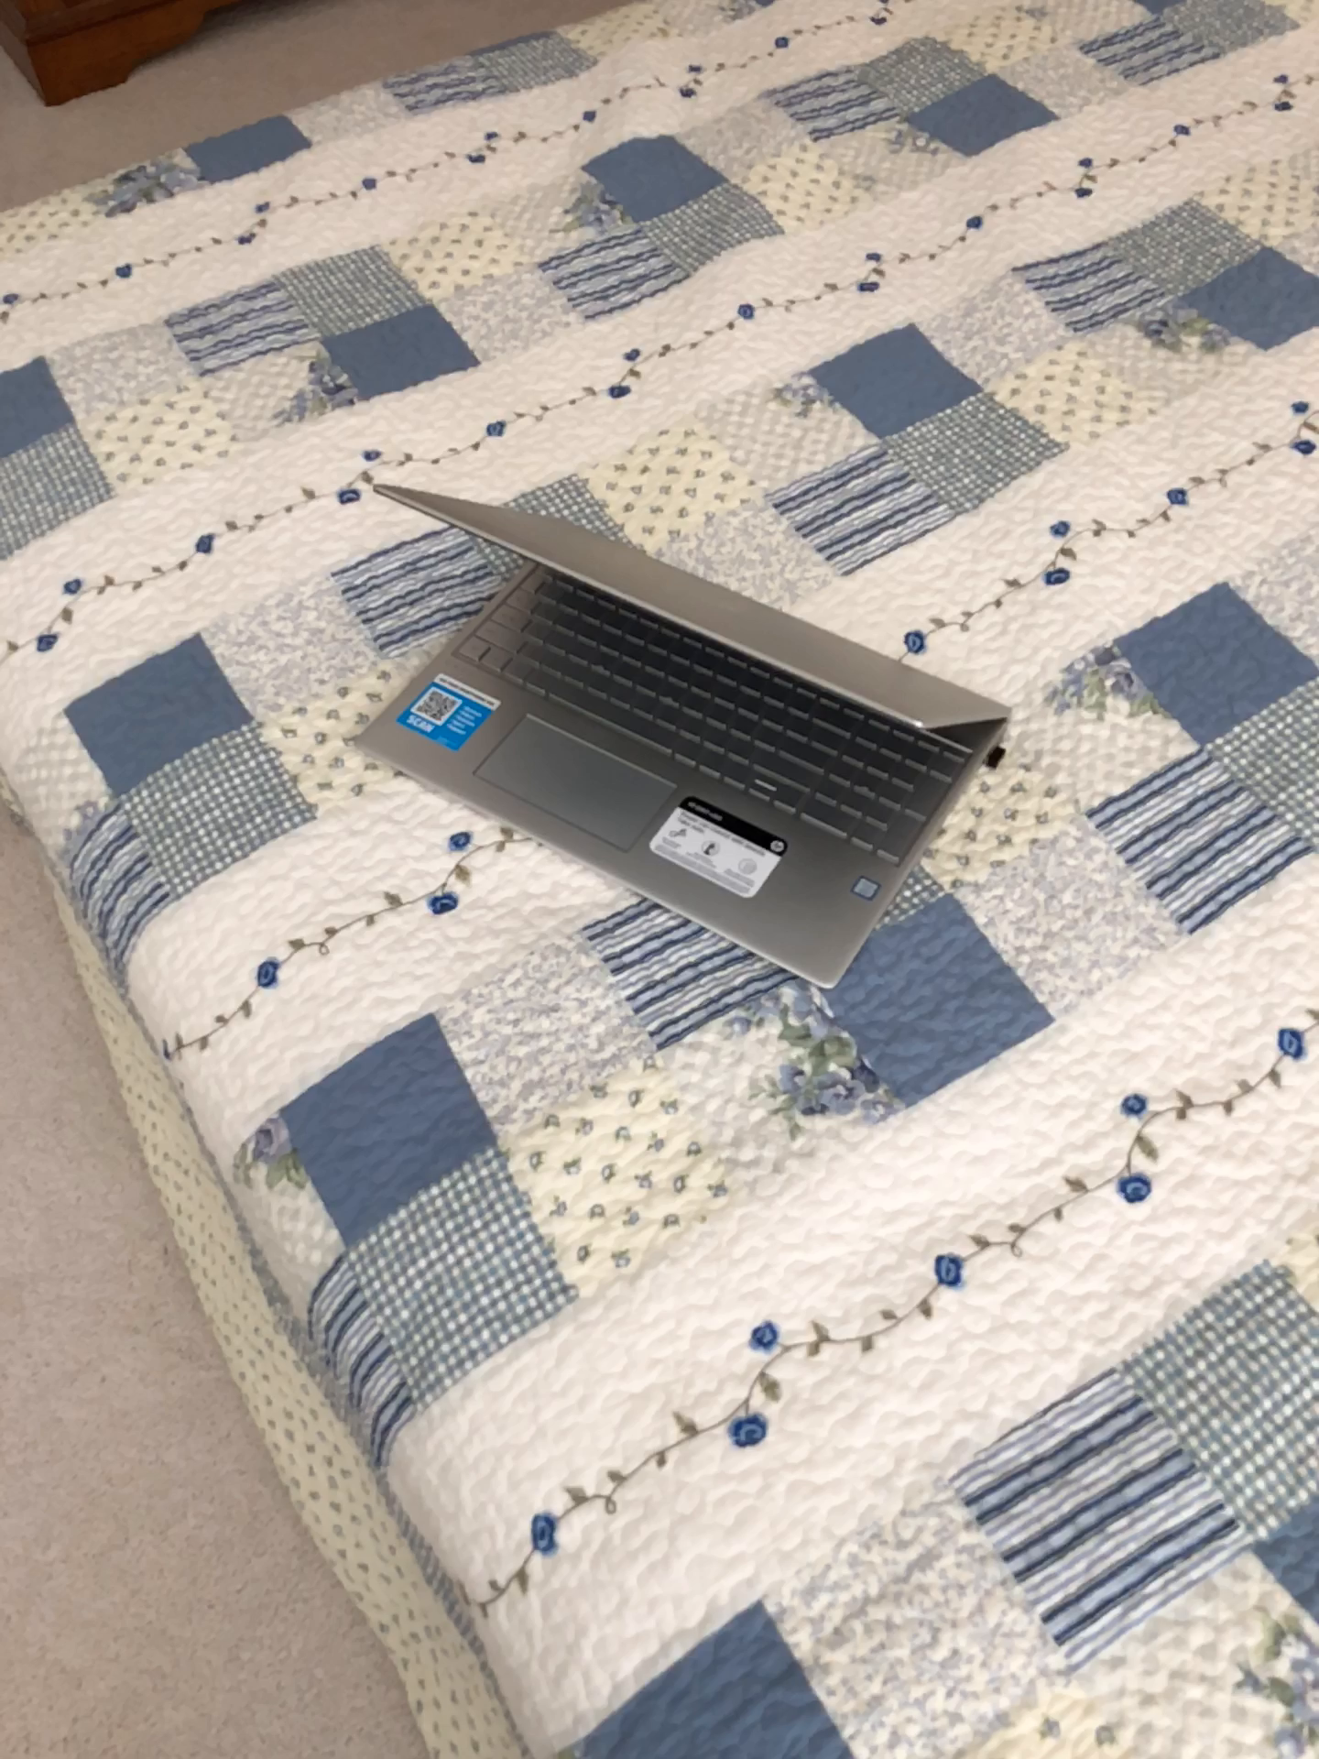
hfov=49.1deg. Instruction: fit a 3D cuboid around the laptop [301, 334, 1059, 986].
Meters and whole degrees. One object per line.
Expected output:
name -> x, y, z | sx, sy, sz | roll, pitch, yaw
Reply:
laptop -> 0.014, -0.143, 0.866 | 0.348, 0.158, 0.242 | 27, 59, 19
